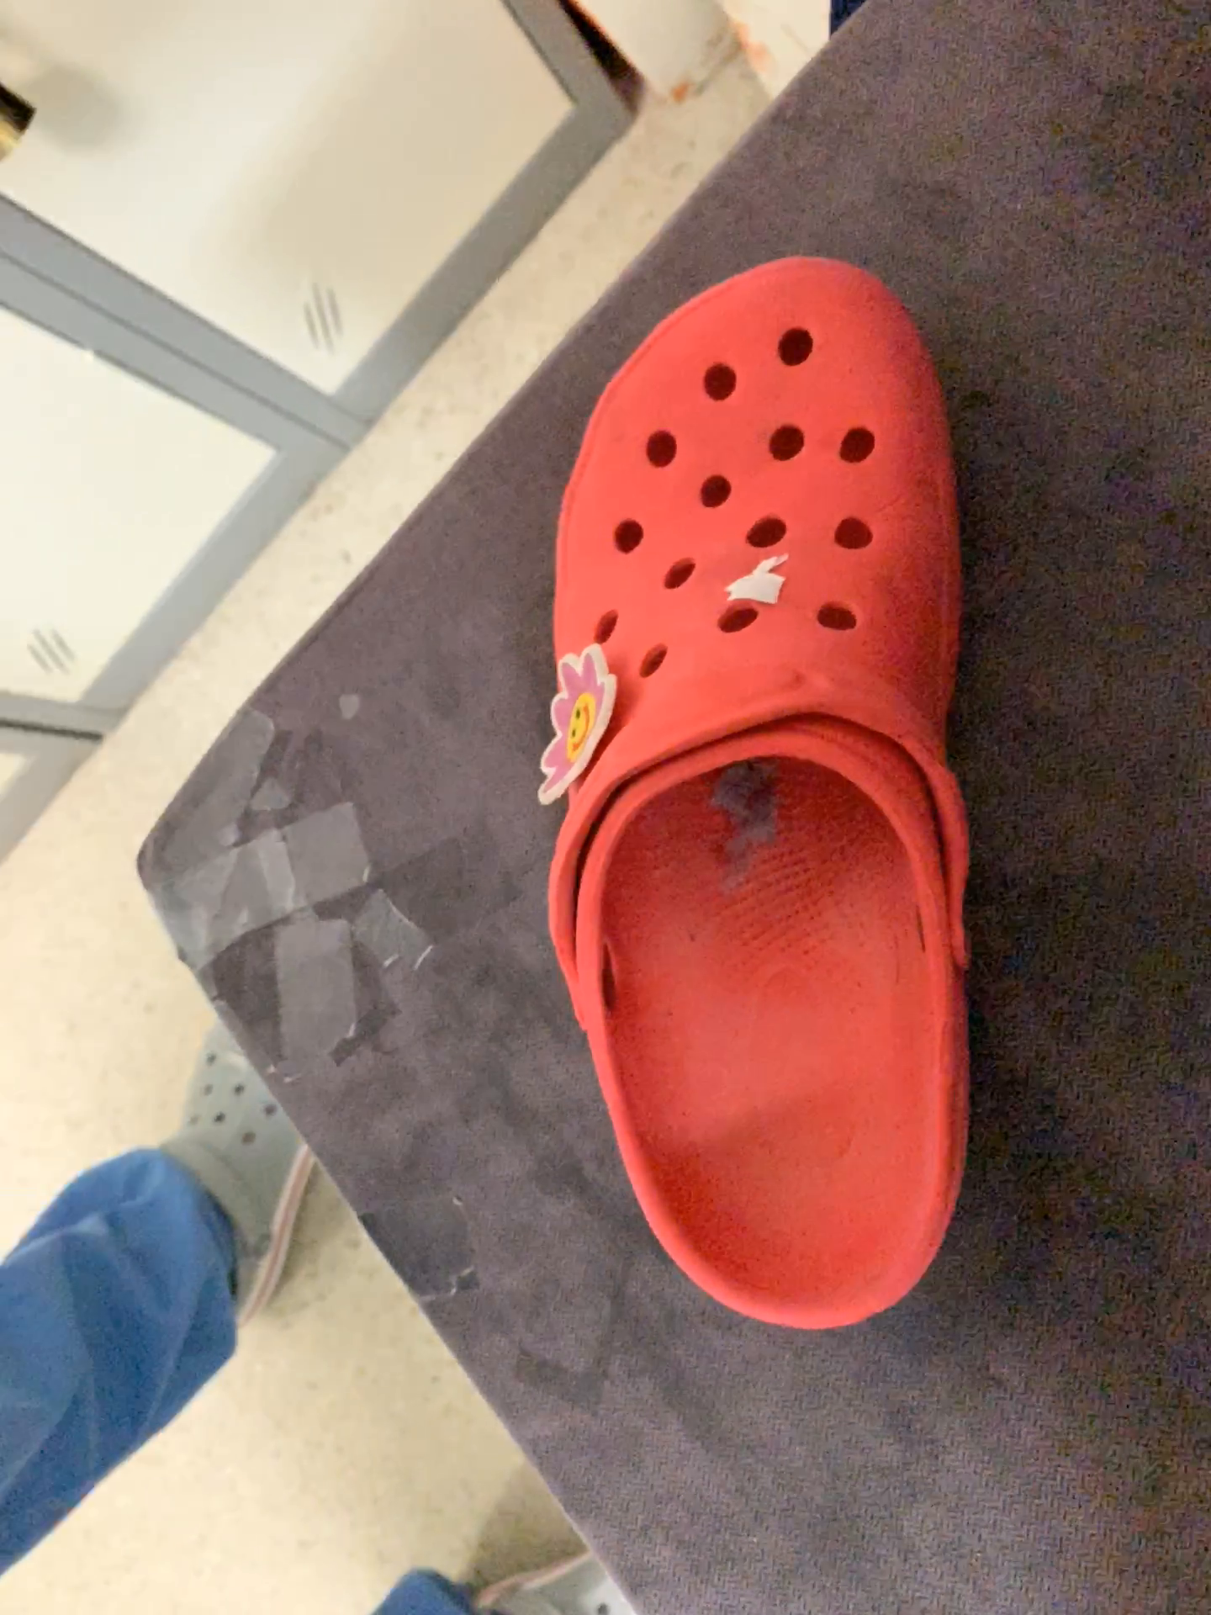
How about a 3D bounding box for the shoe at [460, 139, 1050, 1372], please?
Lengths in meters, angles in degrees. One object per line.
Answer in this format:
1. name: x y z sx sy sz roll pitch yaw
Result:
1. shoe: 0.034 -0.007 0.265 0.092 0.081 0.208 -5 84 23
